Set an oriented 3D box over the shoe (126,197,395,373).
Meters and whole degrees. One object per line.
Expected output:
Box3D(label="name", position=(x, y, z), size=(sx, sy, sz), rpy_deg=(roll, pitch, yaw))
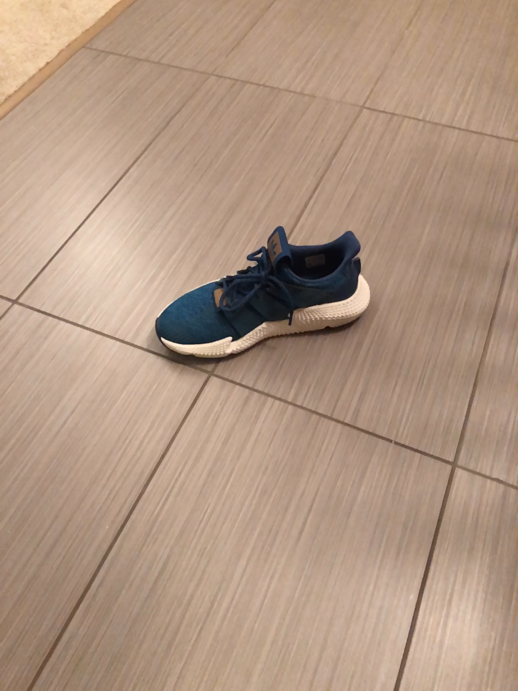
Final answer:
Box3D(label="shoe", position=(-0.001, -0.074, 0.699), size=(0.290, 0.119, 0.112), rpy_deg=(-12, 55, -7))
